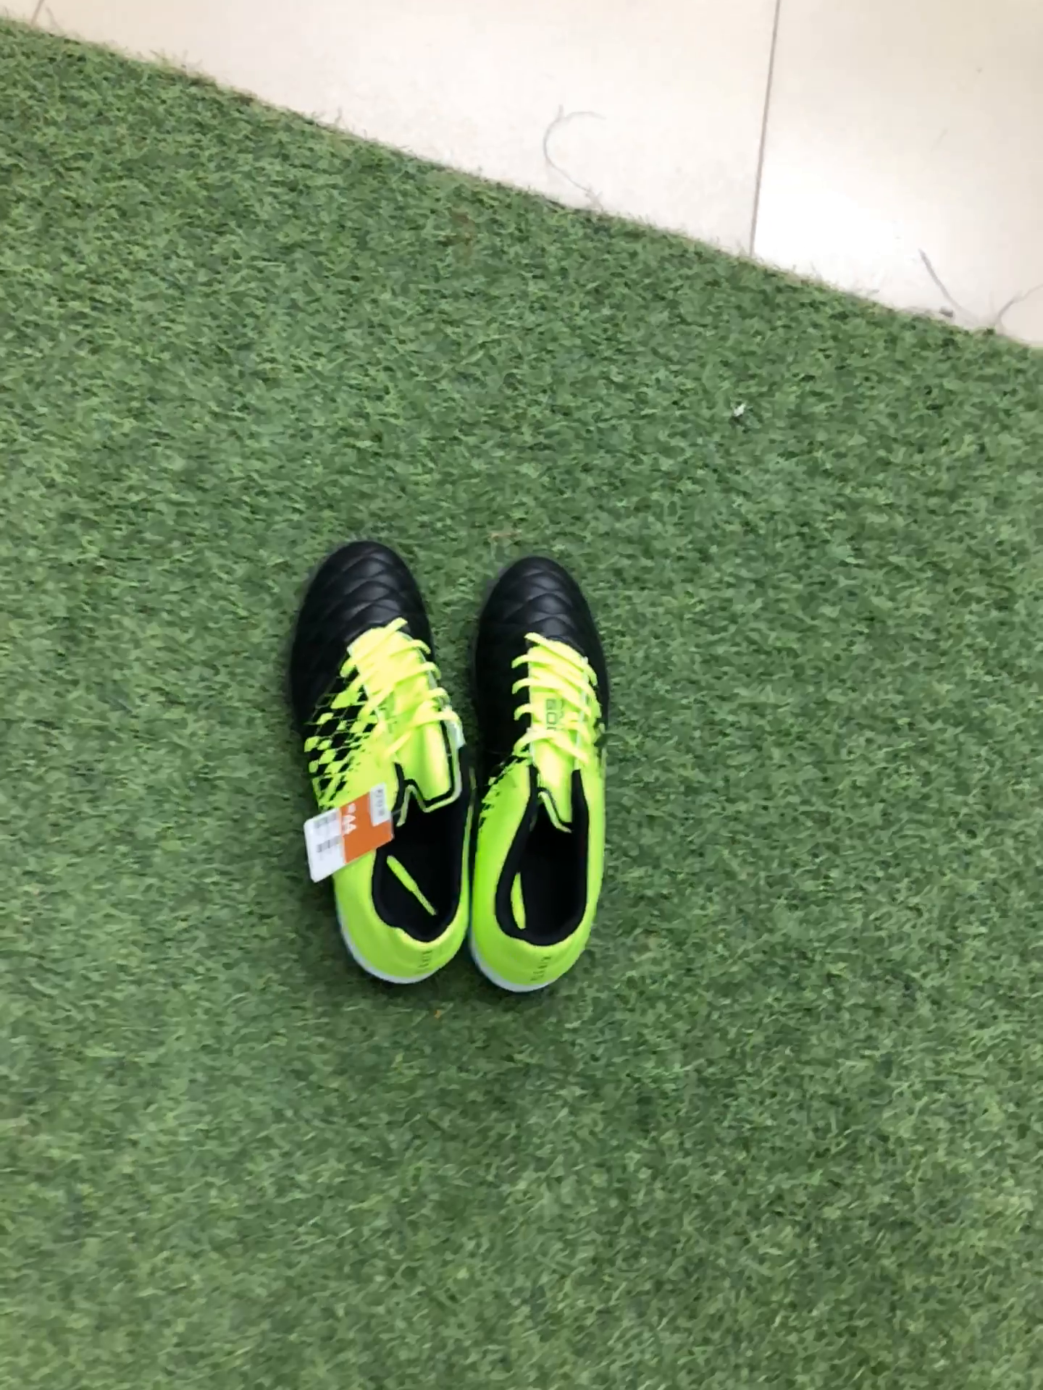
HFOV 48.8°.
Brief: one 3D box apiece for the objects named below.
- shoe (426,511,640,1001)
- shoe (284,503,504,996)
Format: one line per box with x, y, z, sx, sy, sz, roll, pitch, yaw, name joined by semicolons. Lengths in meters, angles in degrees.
0.008;0.039;0.712;0.100;0.090;0.281;7;71;-10;shoe
-0.084;0.031;0.699;0.100;0.090;0.280;-3;73;-13;shoe
